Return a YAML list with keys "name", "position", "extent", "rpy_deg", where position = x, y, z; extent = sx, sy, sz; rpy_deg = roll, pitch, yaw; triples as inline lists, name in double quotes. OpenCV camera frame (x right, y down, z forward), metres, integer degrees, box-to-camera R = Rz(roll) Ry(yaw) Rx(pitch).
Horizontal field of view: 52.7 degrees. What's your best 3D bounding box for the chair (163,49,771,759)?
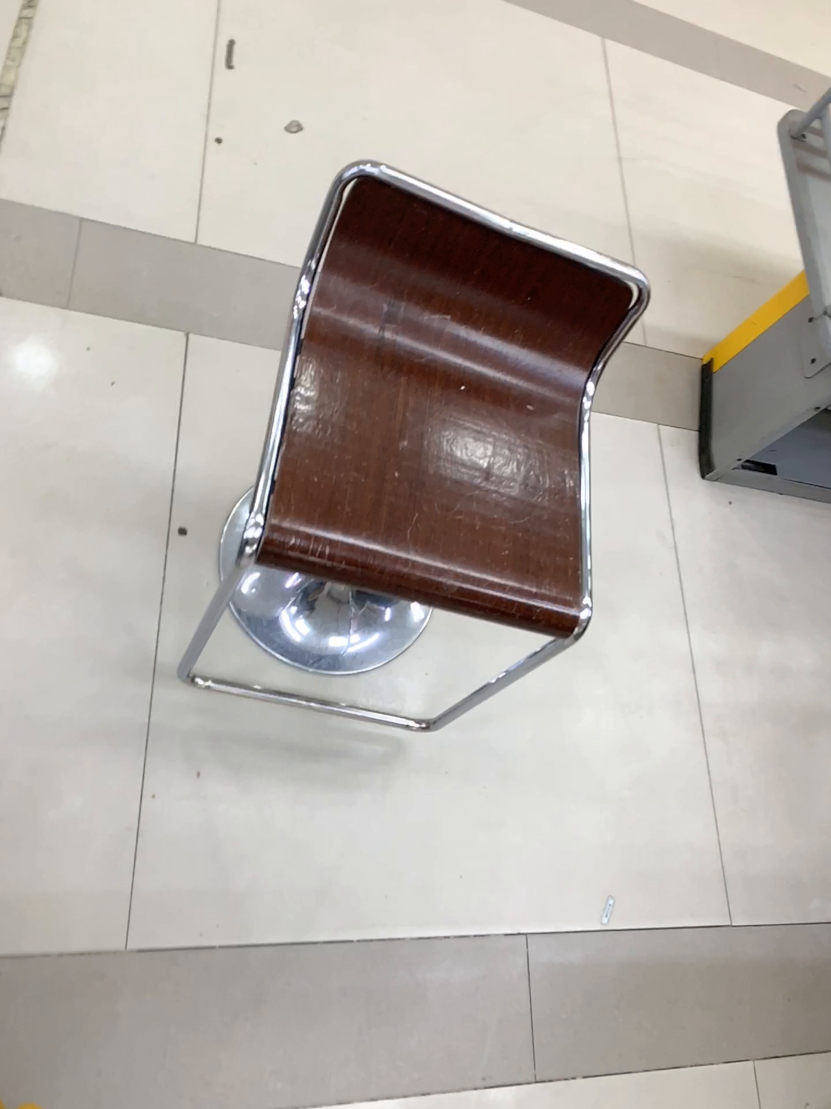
- name: "chair"
  position: [-0.005, -0.075, 1.047]
  extent: [0.440, 0.706, 0.482]
  rpy_deg: [14, 64, -16]
